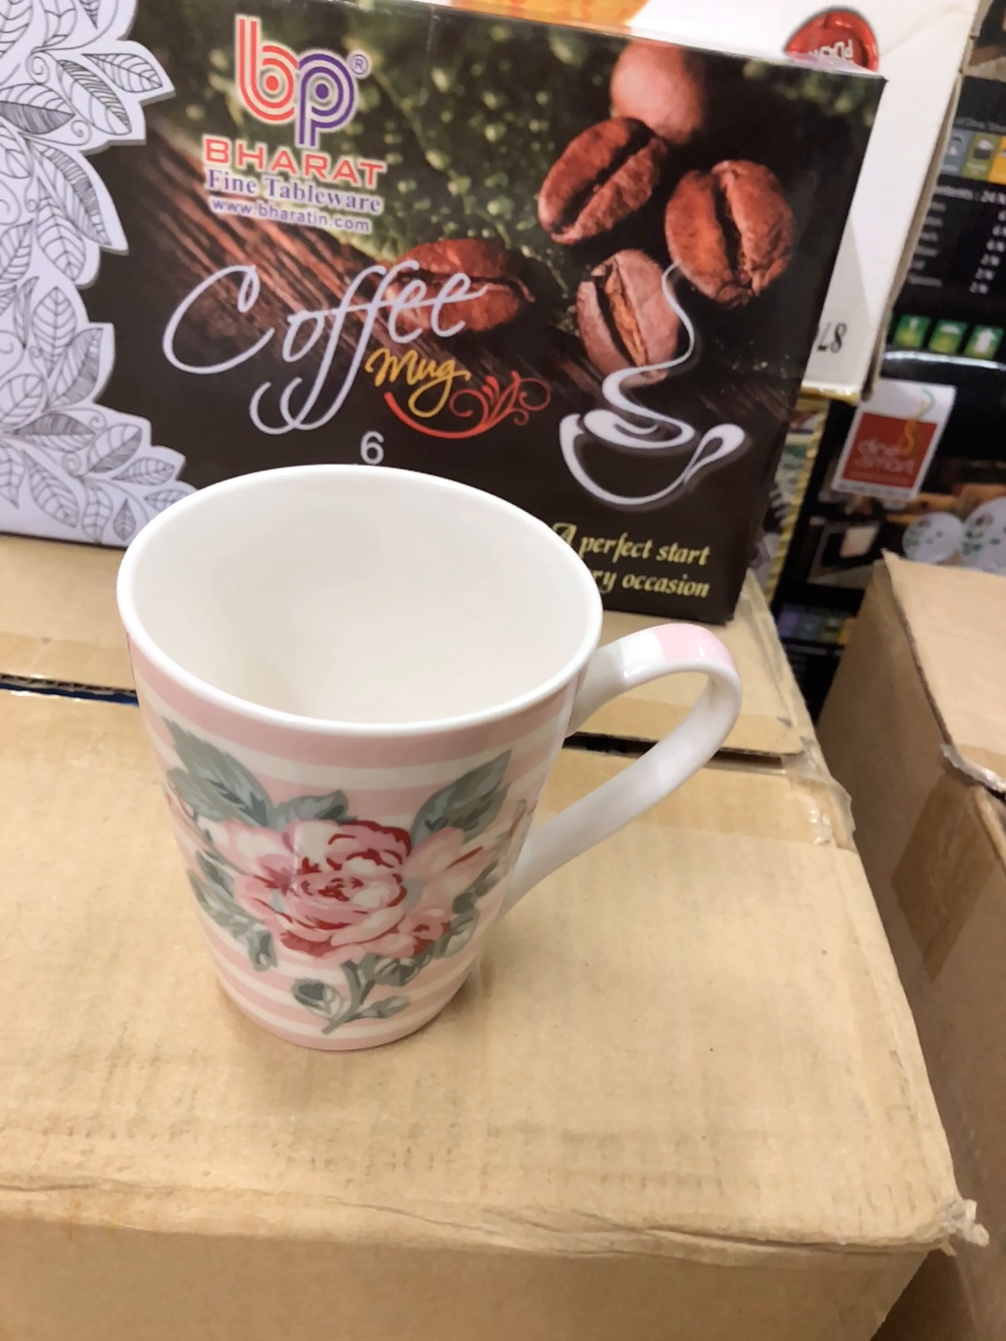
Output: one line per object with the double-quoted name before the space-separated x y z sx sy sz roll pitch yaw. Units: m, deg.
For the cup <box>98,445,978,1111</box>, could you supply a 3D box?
"cup" -0.001 0.021 0.225 0.130 0.089 0.091 3 37 -9
